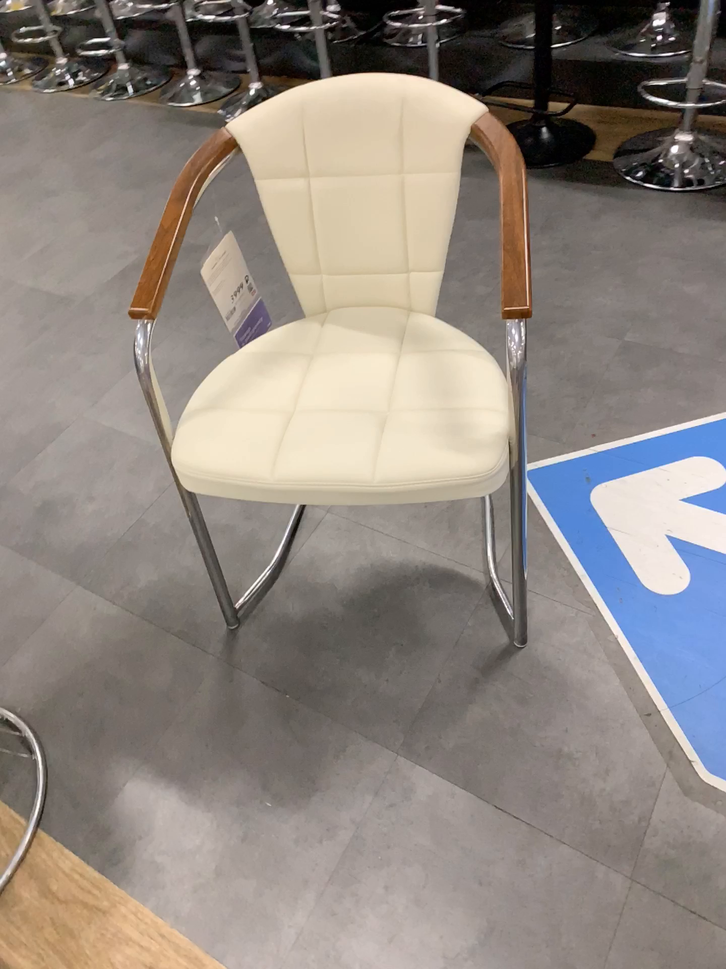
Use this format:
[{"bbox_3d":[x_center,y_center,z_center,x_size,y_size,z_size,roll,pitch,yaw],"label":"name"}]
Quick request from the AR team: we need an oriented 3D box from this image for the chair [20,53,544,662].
[{"bbox_3d":[-0.012,-0.176,1.312,0.600,0.816,0.603,1,49,11],"label":"chair"}]
